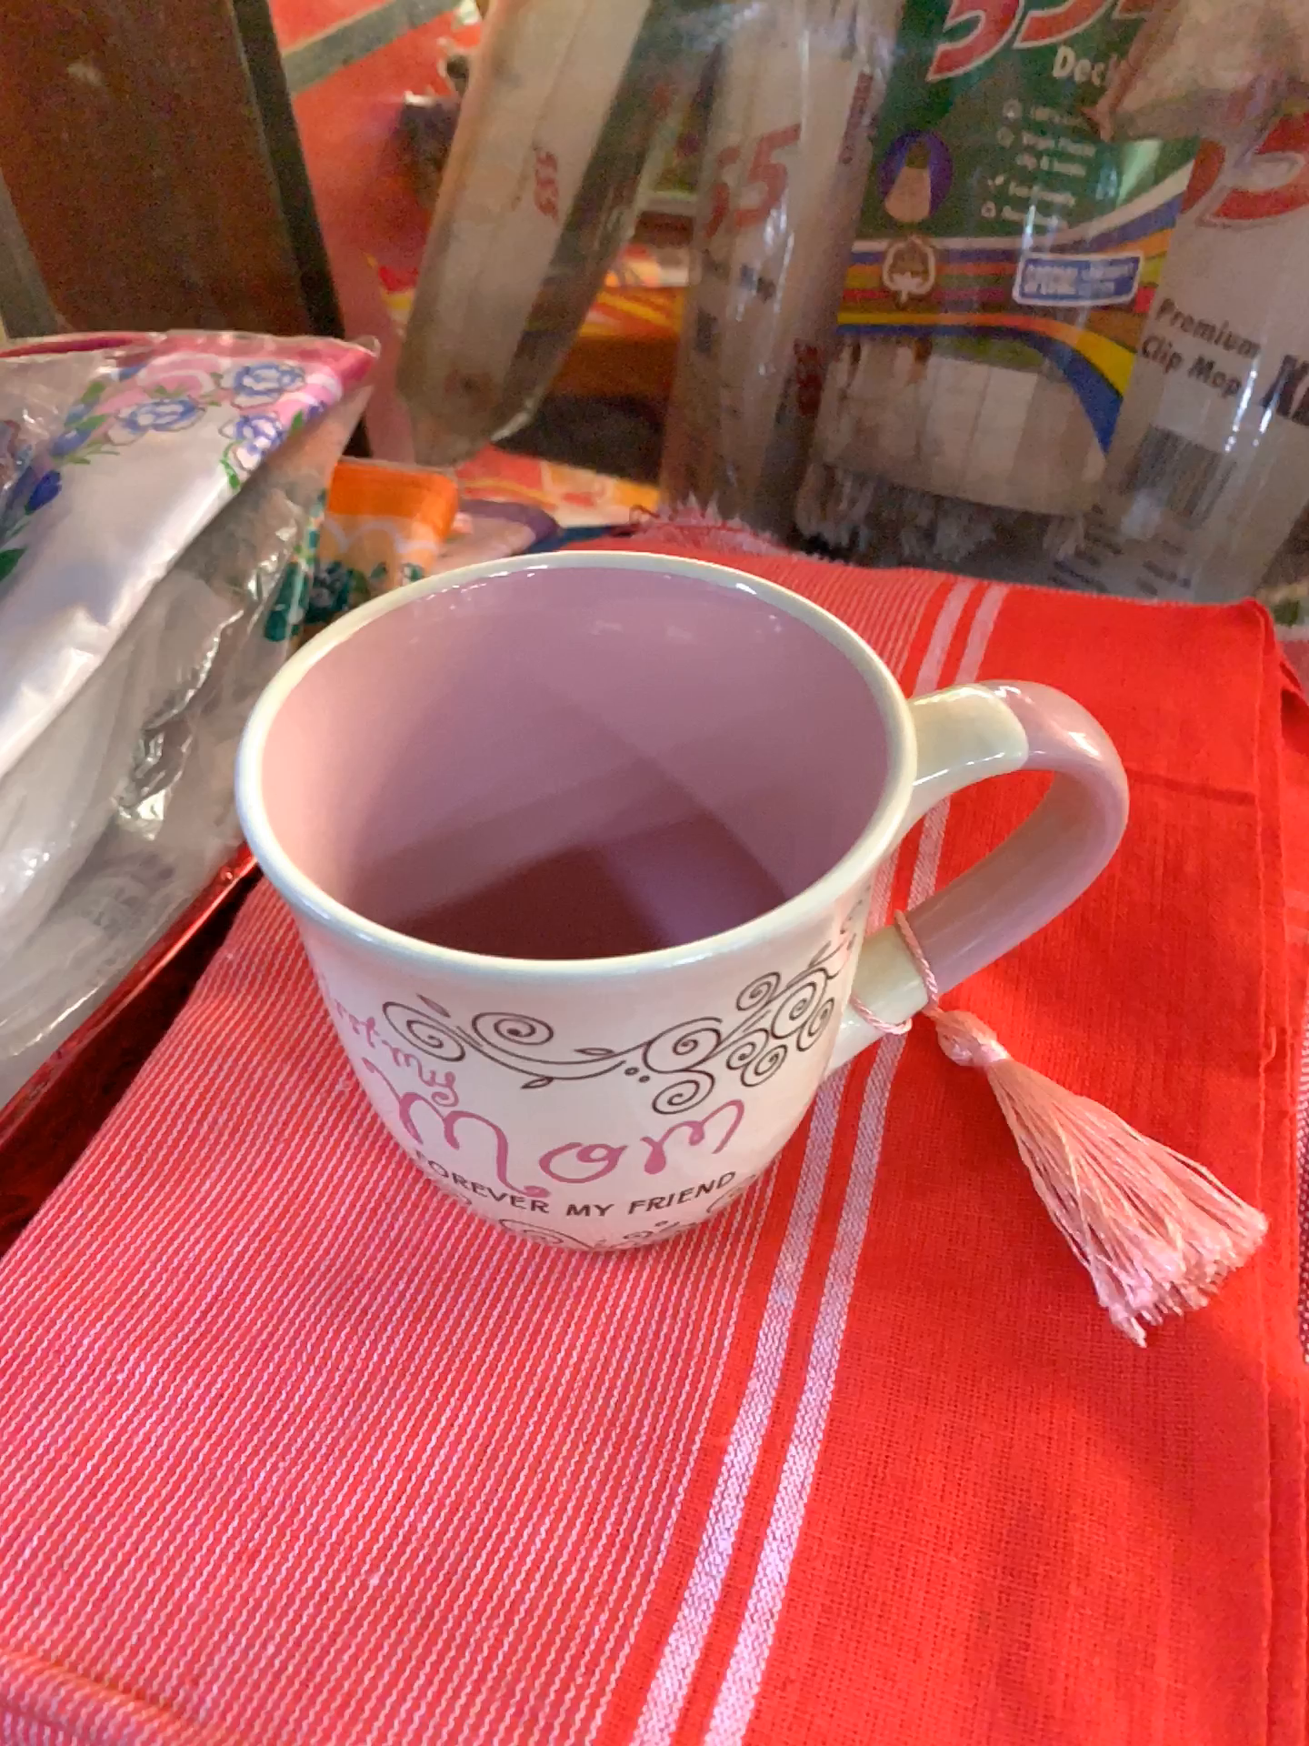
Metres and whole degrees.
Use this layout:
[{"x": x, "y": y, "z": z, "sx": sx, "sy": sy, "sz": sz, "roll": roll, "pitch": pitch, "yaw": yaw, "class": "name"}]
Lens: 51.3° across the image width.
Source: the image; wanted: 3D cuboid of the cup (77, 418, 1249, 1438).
[{"x": -0.002, "y": 0.002, "z": 0.200, "sx": 0.125, "sy": 0.075, "sz": 0.086, "roll": -20, "pitch": 47, "yaw": -14, "class": "cup"}]
